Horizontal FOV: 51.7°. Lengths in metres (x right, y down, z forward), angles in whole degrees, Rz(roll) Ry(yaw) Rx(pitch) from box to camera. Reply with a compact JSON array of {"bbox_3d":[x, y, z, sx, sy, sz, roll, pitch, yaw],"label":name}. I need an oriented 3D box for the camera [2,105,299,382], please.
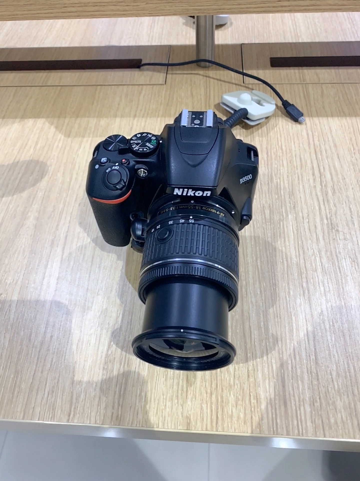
[{"bbox_3d":[-0.008,0.002,0.221,0.117,0.095,0.131,1,55,4],"label":"camera"}]
